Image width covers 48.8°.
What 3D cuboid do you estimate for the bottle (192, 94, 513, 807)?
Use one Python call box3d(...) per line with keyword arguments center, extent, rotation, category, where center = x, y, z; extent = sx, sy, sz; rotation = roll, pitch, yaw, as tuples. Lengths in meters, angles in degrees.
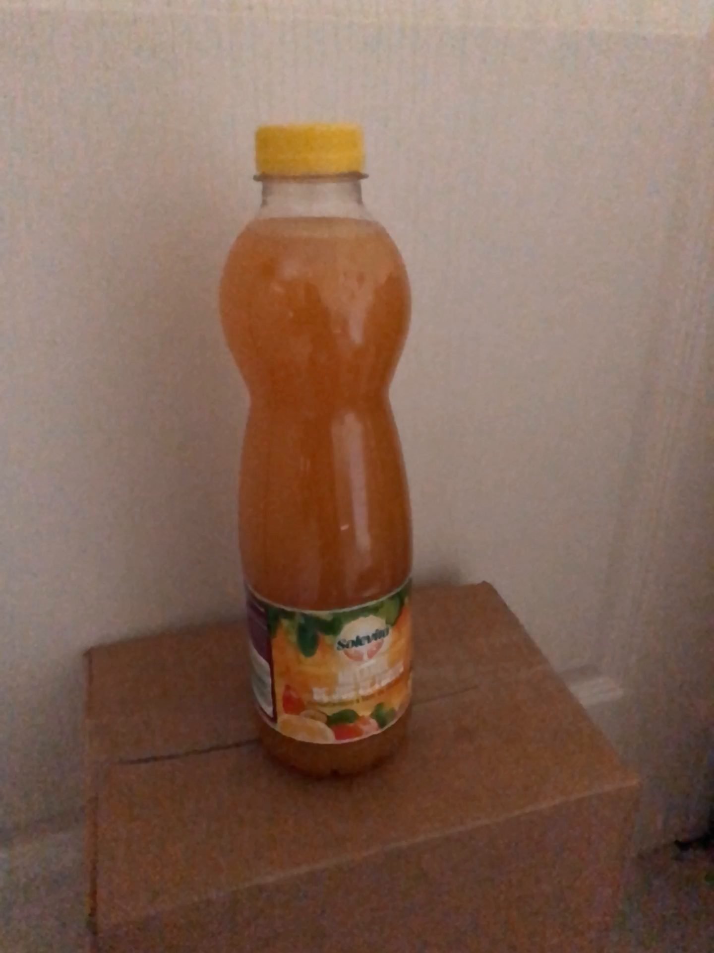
box3d(center=(-0.007, -0.004, 0.331), extent=(0.080, 0.278, 0.080), rotation=(1, 27, 0), category="bottle")
